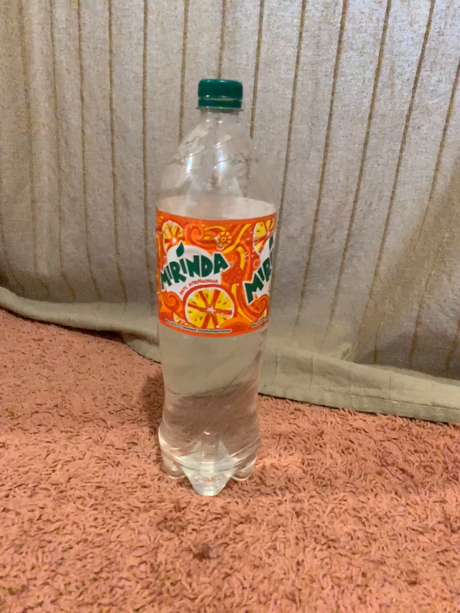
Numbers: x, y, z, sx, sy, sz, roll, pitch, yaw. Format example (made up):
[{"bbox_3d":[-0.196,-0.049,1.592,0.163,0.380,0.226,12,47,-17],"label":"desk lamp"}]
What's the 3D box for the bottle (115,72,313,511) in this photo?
[{"bbox_3d":[-0.014,-0.010,0.367,0.100,0.298,0.101,3,20,-1],"label":"bottle"}]
